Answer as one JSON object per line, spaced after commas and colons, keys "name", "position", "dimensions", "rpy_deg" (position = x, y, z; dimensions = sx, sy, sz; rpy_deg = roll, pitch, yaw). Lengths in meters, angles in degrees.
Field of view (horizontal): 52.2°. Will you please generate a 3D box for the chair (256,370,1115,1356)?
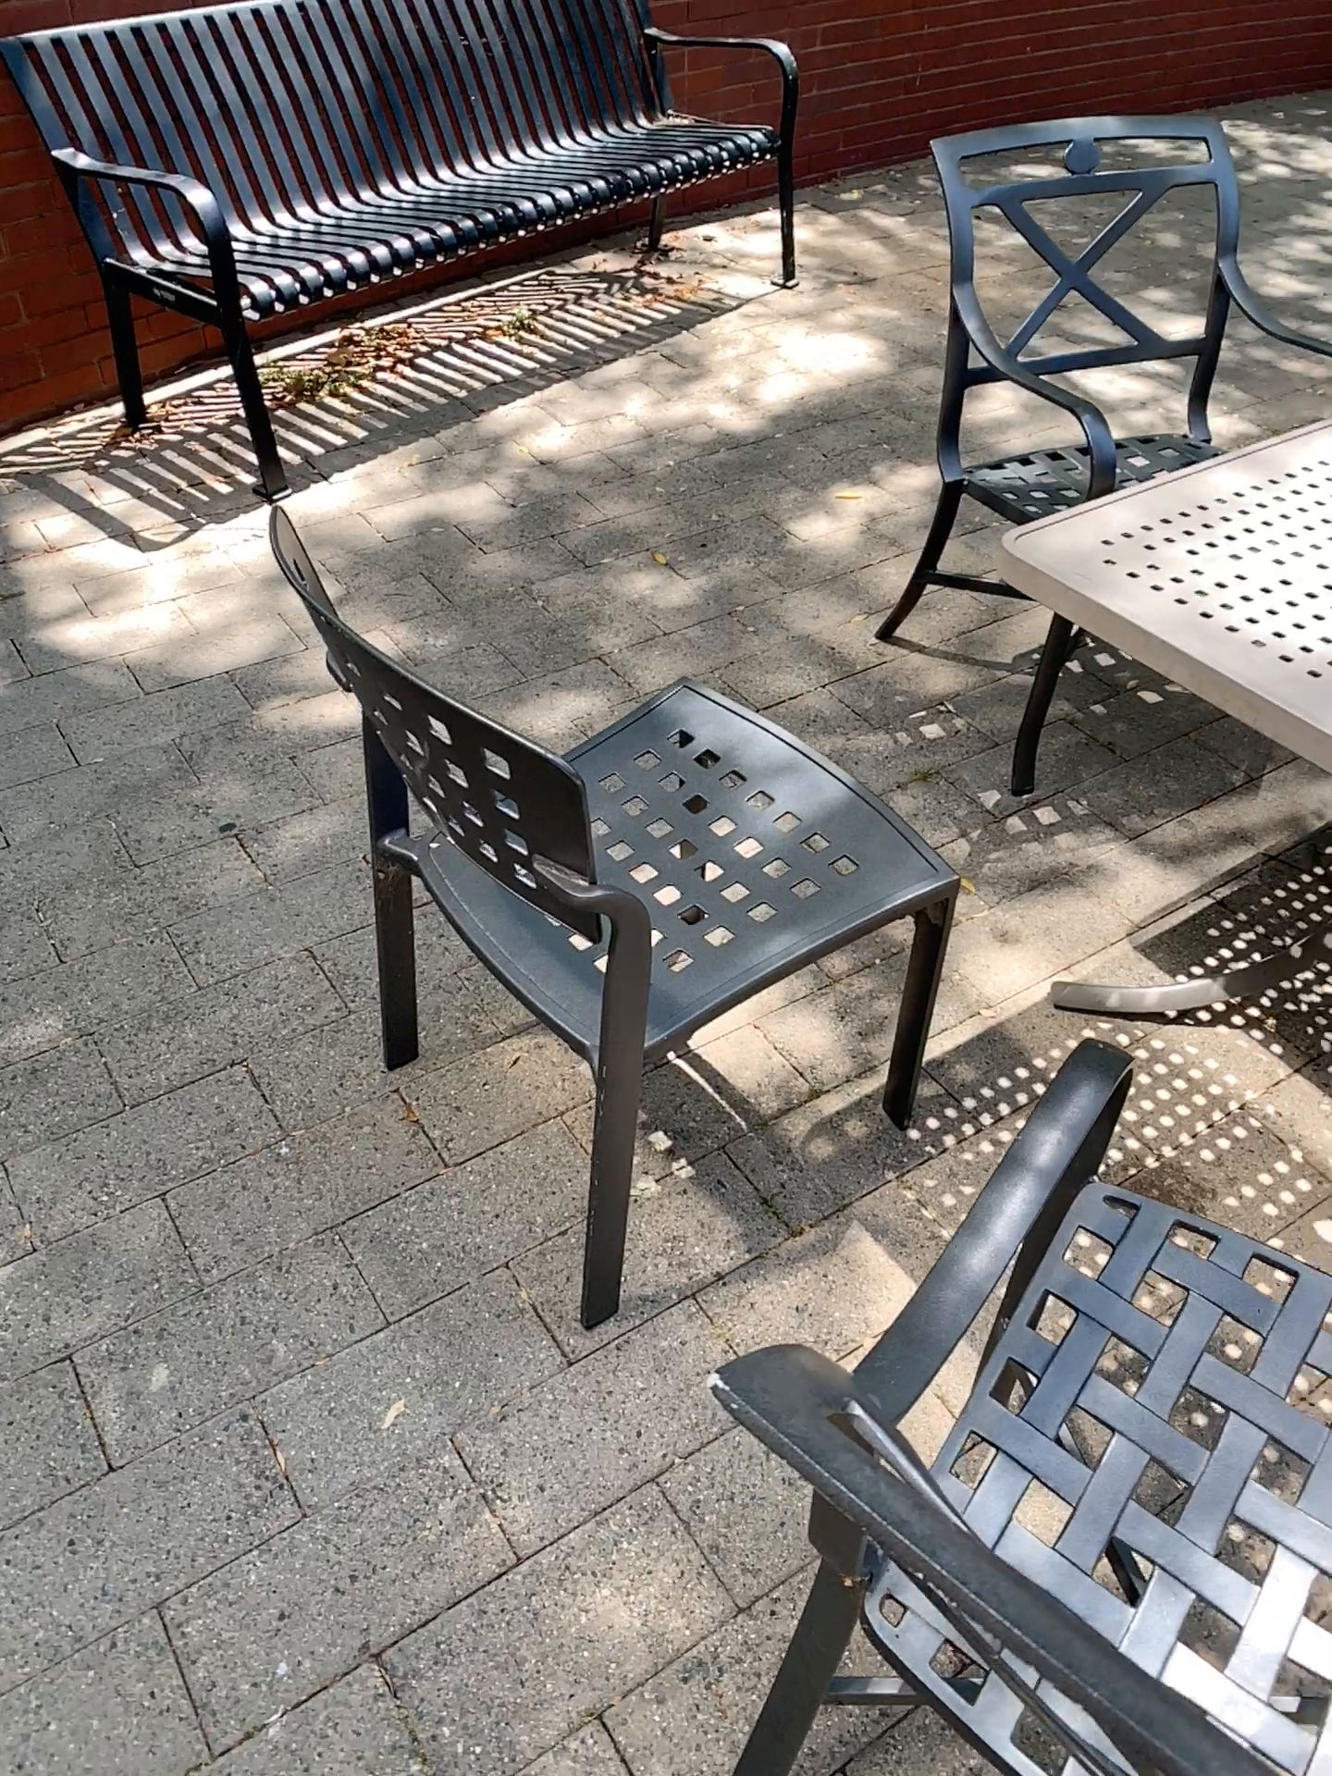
{"name": "chair", "position": [0.002, -0.039, 1.395], "dimensions": [0.550, 0.716, 0.492], "rpy_deg": [-24, 47, -26]}
